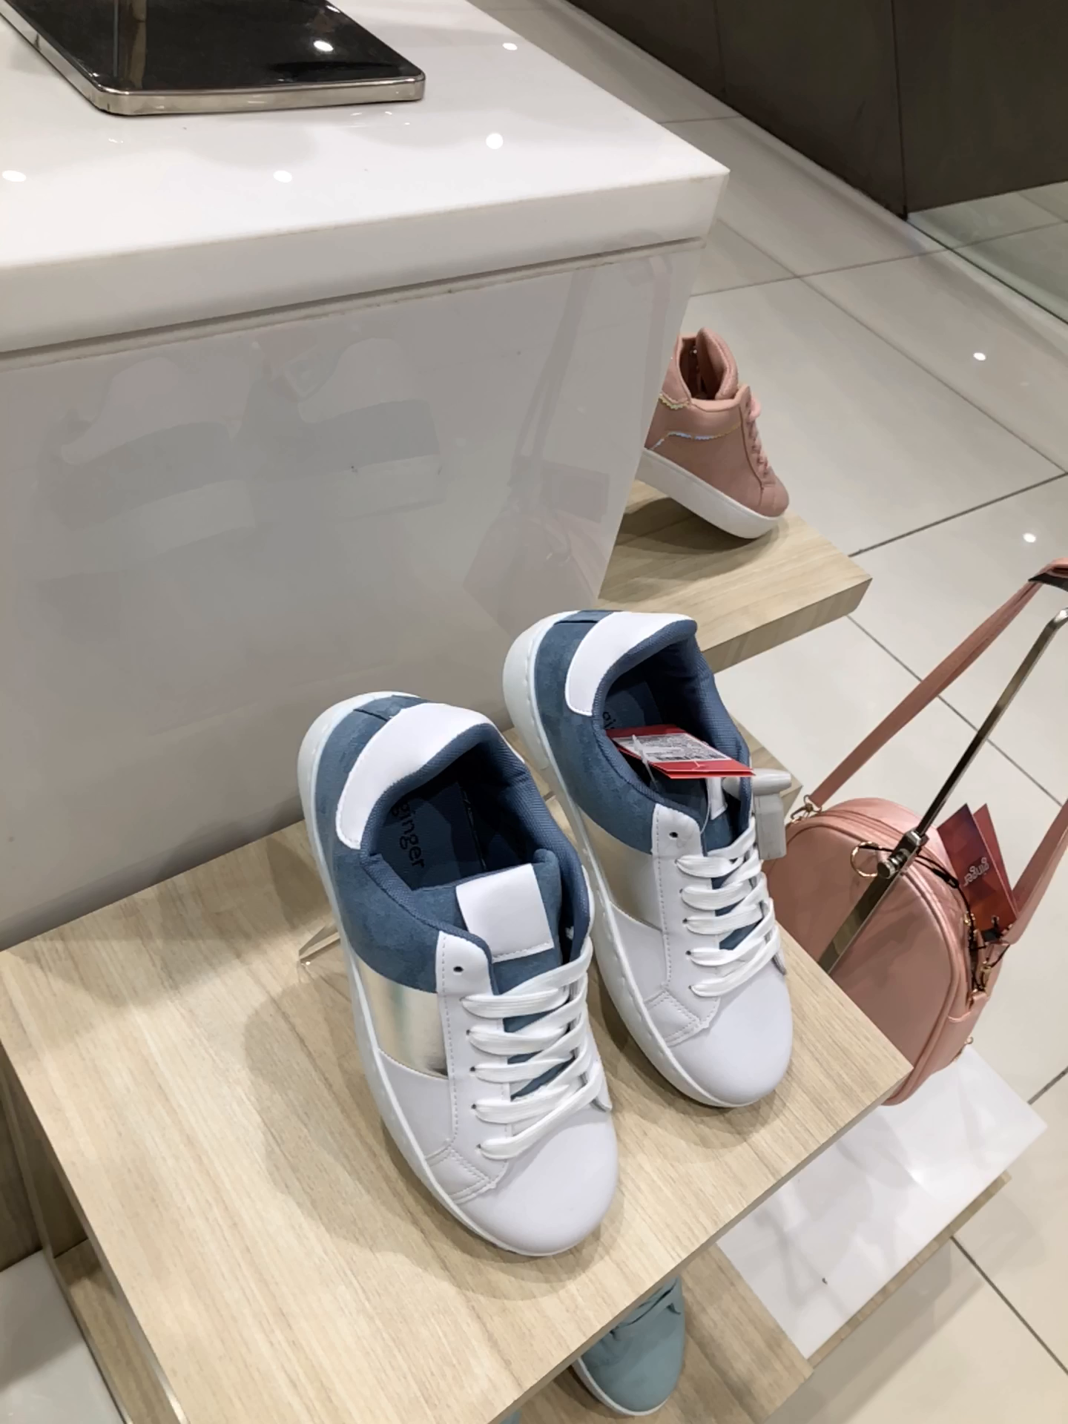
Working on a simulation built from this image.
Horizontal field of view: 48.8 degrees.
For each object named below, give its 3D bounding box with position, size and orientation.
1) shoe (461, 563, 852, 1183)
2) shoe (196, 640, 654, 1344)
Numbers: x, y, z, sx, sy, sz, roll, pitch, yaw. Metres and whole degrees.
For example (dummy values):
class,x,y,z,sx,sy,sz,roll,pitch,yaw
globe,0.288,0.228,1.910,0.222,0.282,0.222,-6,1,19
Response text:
class,x,y,z,sx,sy,sz,roll,pitch,yaw
shoe,0.062,0.070,0.563,0.101,0.259,0.090,-22,16,-32
shoe,-0.043,0.109,0.501,0.101,0.259,0.090,-22,16,-32
